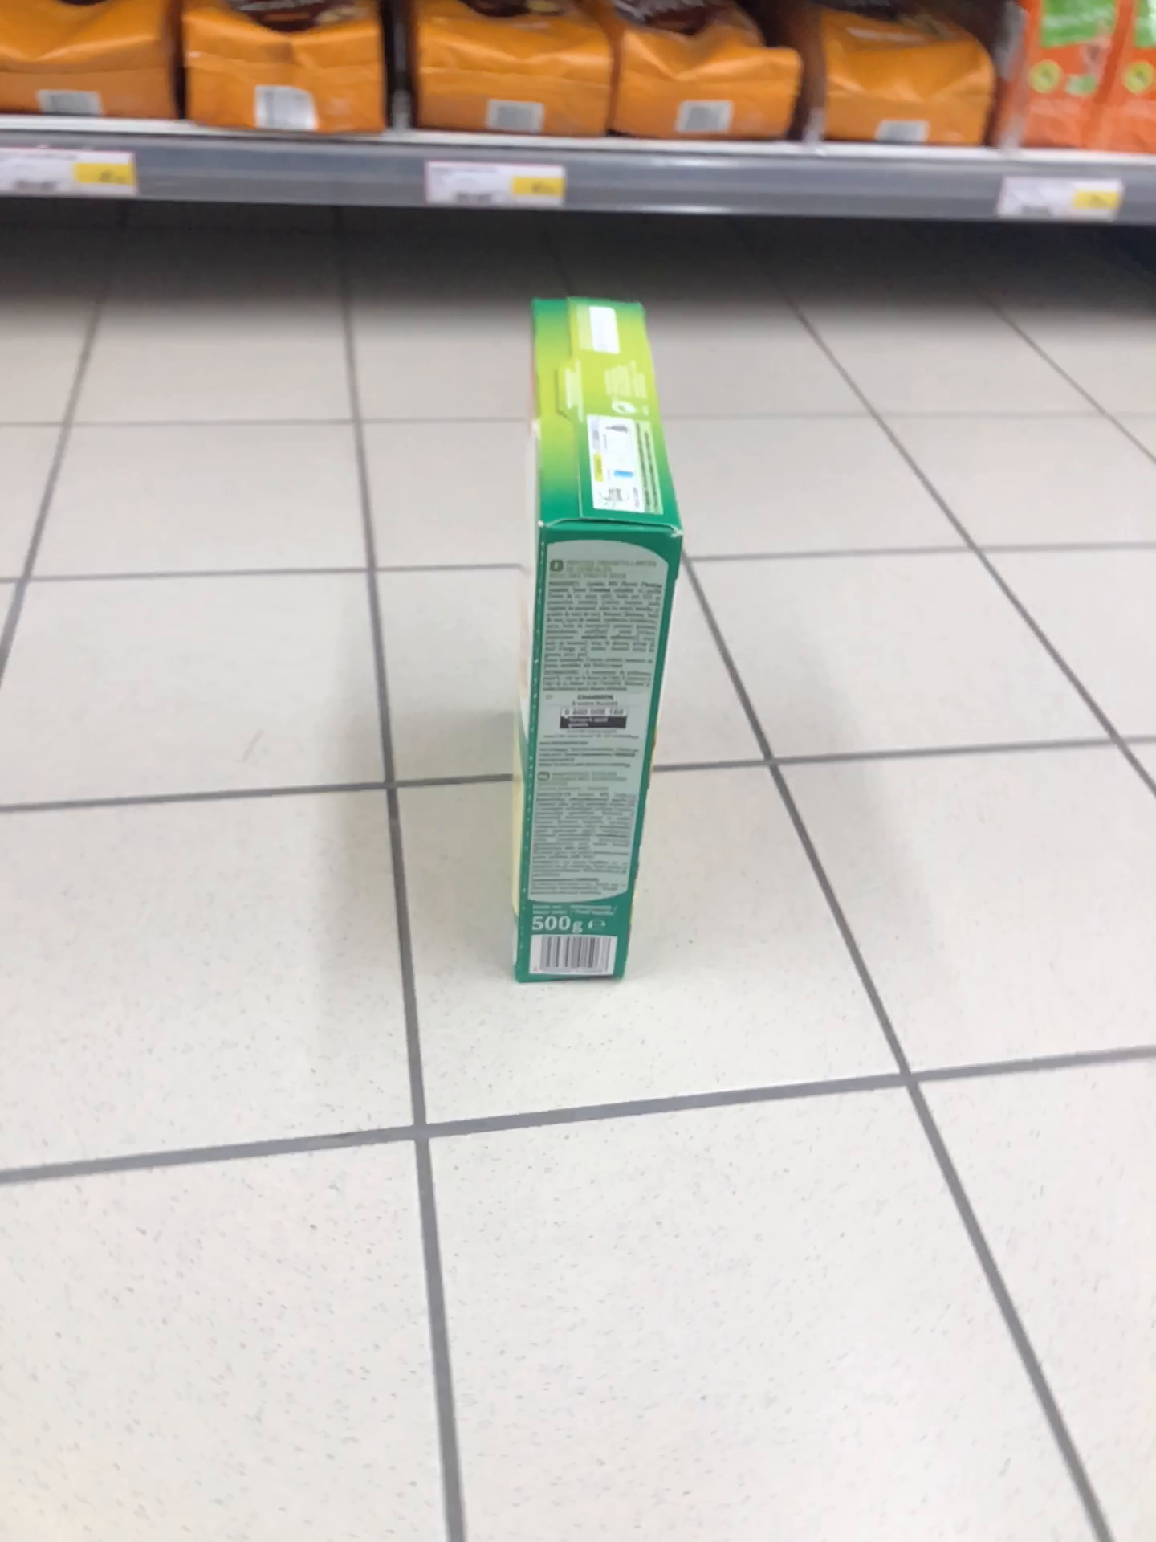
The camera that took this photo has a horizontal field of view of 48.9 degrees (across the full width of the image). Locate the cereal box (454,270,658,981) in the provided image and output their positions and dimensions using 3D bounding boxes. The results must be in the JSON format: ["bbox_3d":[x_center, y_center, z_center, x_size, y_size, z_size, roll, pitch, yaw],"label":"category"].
[{"bbox_3d":[-0.016,-0.062,0.534,0.060,0.218,0.201,2,40,-4],"label":"cereal box"}]
